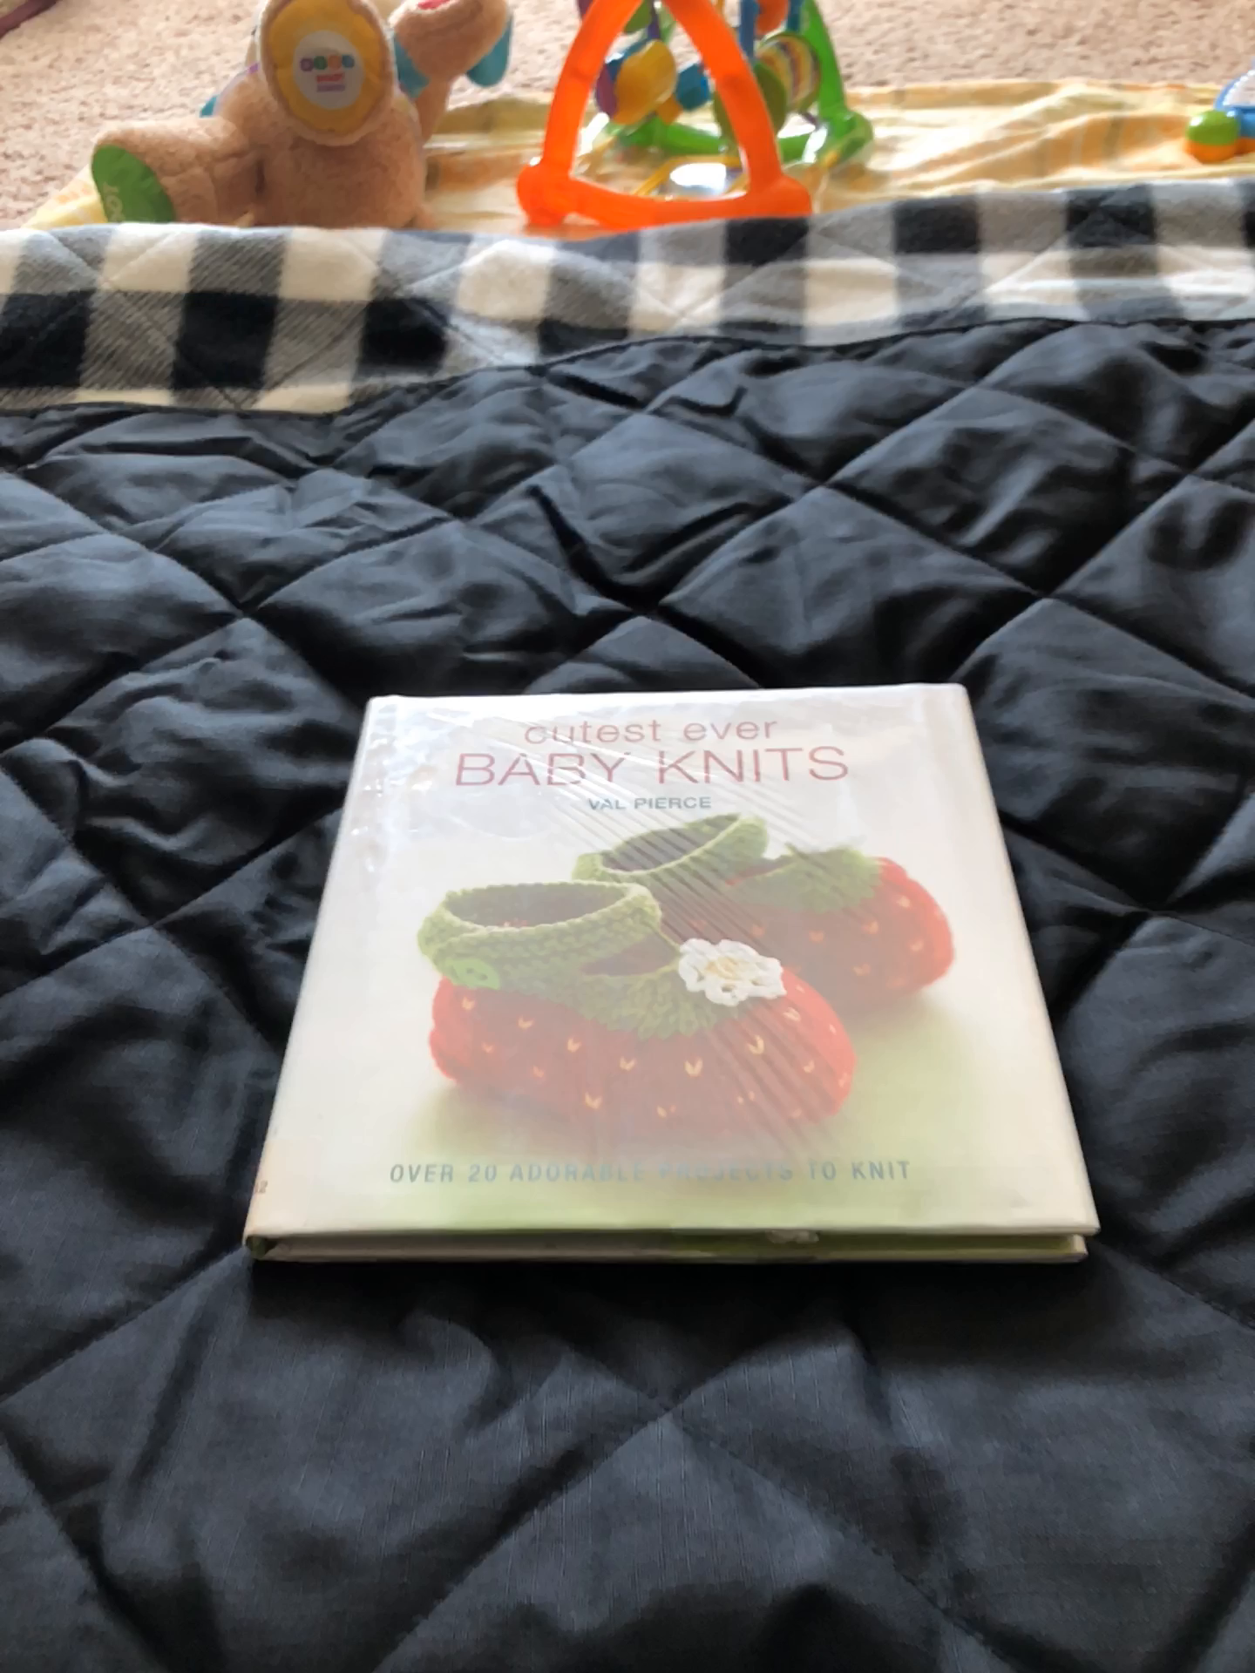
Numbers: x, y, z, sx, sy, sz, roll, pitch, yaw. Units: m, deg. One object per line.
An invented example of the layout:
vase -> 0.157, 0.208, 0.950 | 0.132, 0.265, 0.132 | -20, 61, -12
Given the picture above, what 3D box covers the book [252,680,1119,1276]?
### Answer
book -> 0.014, 0.026, 0.393 | 0.197, 0.020, 0.200 | 0, 45, 1
